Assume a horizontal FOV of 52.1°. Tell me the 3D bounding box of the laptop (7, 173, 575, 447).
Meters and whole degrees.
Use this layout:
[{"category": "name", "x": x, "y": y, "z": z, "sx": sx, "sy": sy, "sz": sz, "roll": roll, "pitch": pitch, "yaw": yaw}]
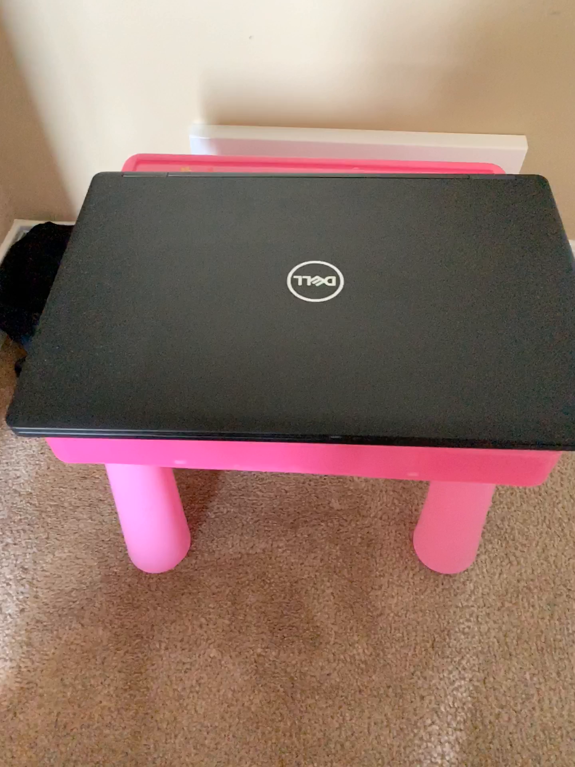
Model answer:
[{"category": "laptop", "x": 0.019, "y": -0.069, "z": 0.413, "sx": 0.366, "sy": 0.005, "sz": 0.241, "roll": 1, "pitch": 56, "yaw": 3}]
